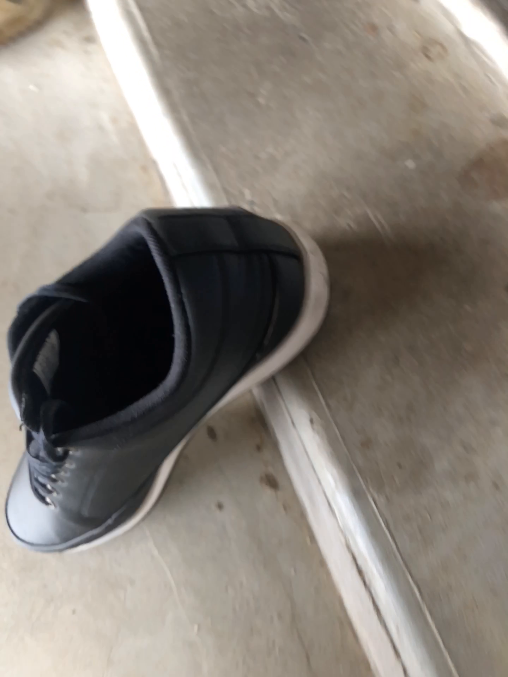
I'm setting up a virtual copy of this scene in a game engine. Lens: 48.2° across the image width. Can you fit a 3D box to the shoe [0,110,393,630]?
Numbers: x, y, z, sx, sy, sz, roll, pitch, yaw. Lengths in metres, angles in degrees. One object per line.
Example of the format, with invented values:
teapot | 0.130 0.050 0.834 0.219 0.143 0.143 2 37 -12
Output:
shoe | -0.086 0.040 0.324 0.289 0.090 0.130 -41 63 30
